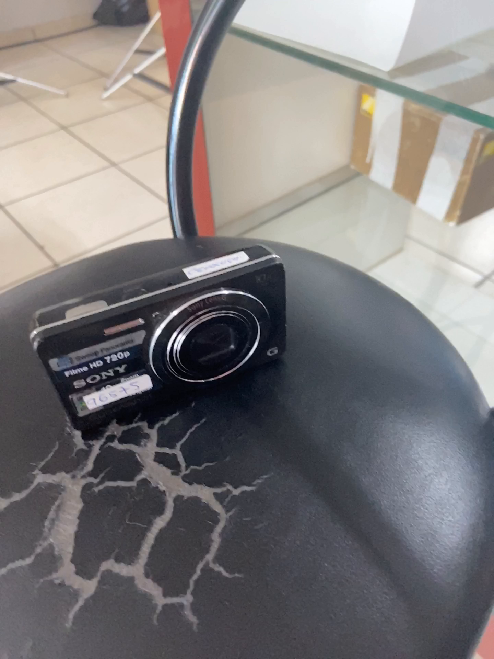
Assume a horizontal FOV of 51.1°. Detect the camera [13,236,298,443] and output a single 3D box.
[{"bbox_3d":[-0.030,0.003,0.199,0.097,0.051,0.024,-17,46,-14],"label":"camera"}]
